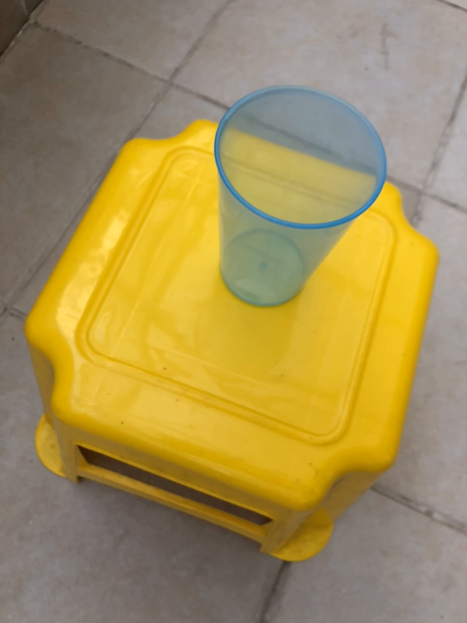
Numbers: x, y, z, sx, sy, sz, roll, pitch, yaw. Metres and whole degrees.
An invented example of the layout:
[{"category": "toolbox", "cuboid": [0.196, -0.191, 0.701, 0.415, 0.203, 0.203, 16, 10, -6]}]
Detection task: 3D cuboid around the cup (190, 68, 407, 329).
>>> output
[{"category": "cup", "cuboid": [0.027, -0.050, 0.269, 0.080, 0.100, 0.070, 15, 68, 1]}]
